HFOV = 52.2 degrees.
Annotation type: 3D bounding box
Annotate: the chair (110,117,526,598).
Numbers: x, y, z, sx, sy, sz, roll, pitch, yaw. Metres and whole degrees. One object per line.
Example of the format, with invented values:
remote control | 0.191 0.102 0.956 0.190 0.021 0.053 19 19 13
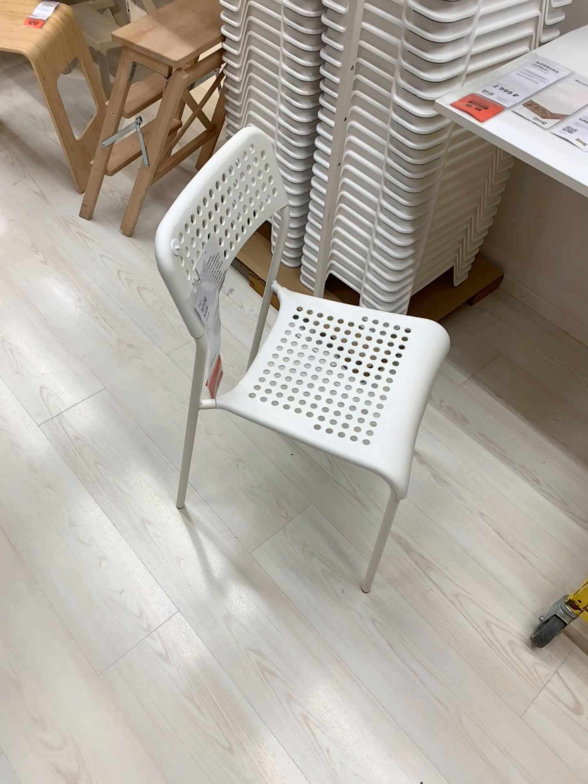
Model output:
chair | 0.037 -0.018 1.175 0.500 0.746 0.425 19 53 10
